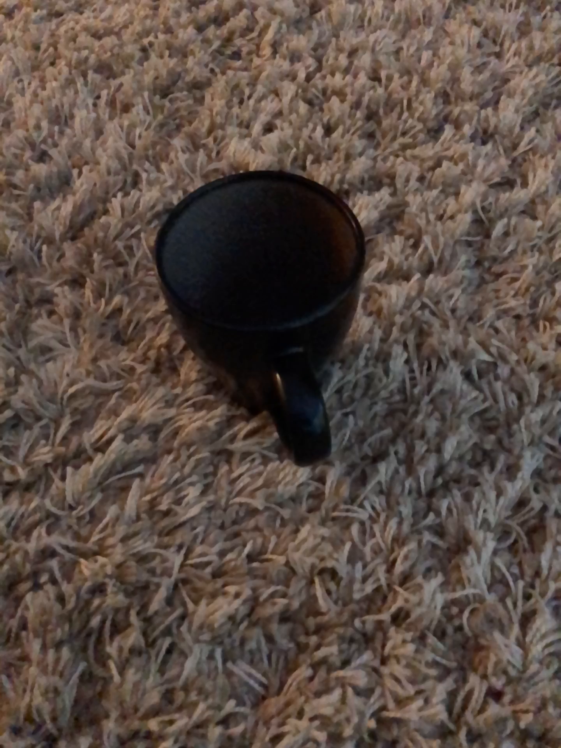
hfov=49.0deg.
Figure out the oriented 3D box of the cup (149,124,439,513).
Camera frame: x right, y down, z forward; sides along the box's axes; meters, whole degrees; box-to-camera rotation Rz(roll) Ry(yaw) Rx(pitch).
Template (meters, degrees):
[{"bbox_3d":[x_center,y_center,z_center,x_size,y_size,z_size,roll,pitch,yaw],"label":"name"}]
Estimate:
[{"bbox_3d":[0.000,-0.027,0.286,0.090,0.090,0.141,-11,57,-3],"label":"cup"}]
